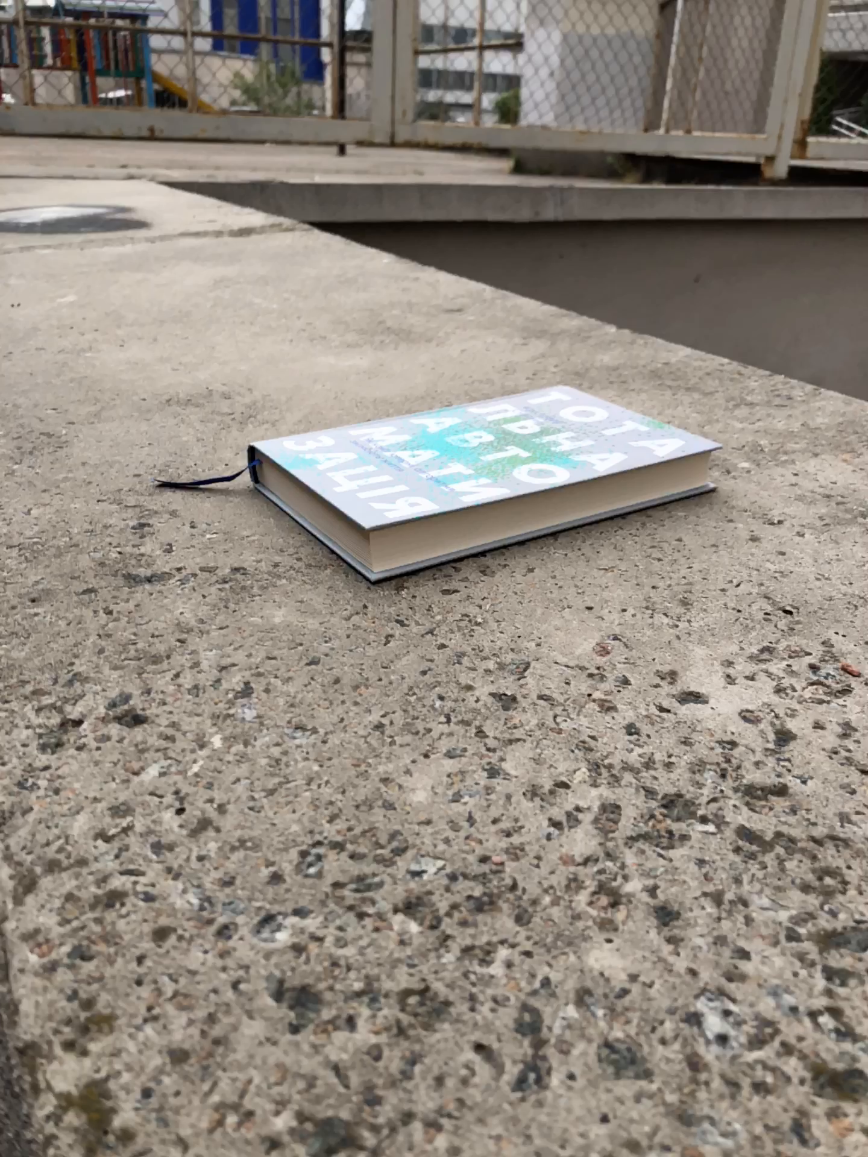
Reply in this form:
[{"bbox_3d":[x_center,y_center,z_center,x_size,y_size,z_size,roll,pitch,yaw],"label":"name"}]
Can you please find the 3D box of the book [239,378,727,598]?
[{"bbox_3d":[0.025,-0.062,0.528,0.220,0.030,0.151,-17,31,-27],"label":"book"}]
